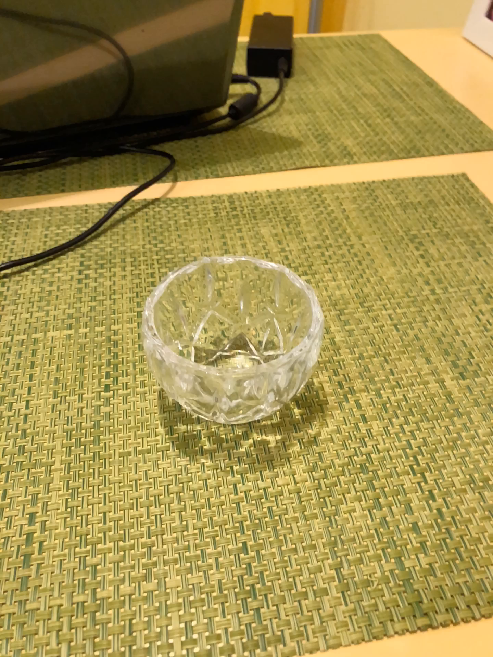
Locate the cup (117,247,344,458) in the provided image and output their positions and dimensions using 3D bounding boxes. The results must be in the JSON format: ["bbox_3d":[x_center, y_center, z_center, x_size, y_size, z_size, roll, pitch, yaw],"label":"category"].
[{"bbox_3d":[-0.003,0.008,0.232,0.080,0.045,0.072,4,45,3],"label":"cup"}]
